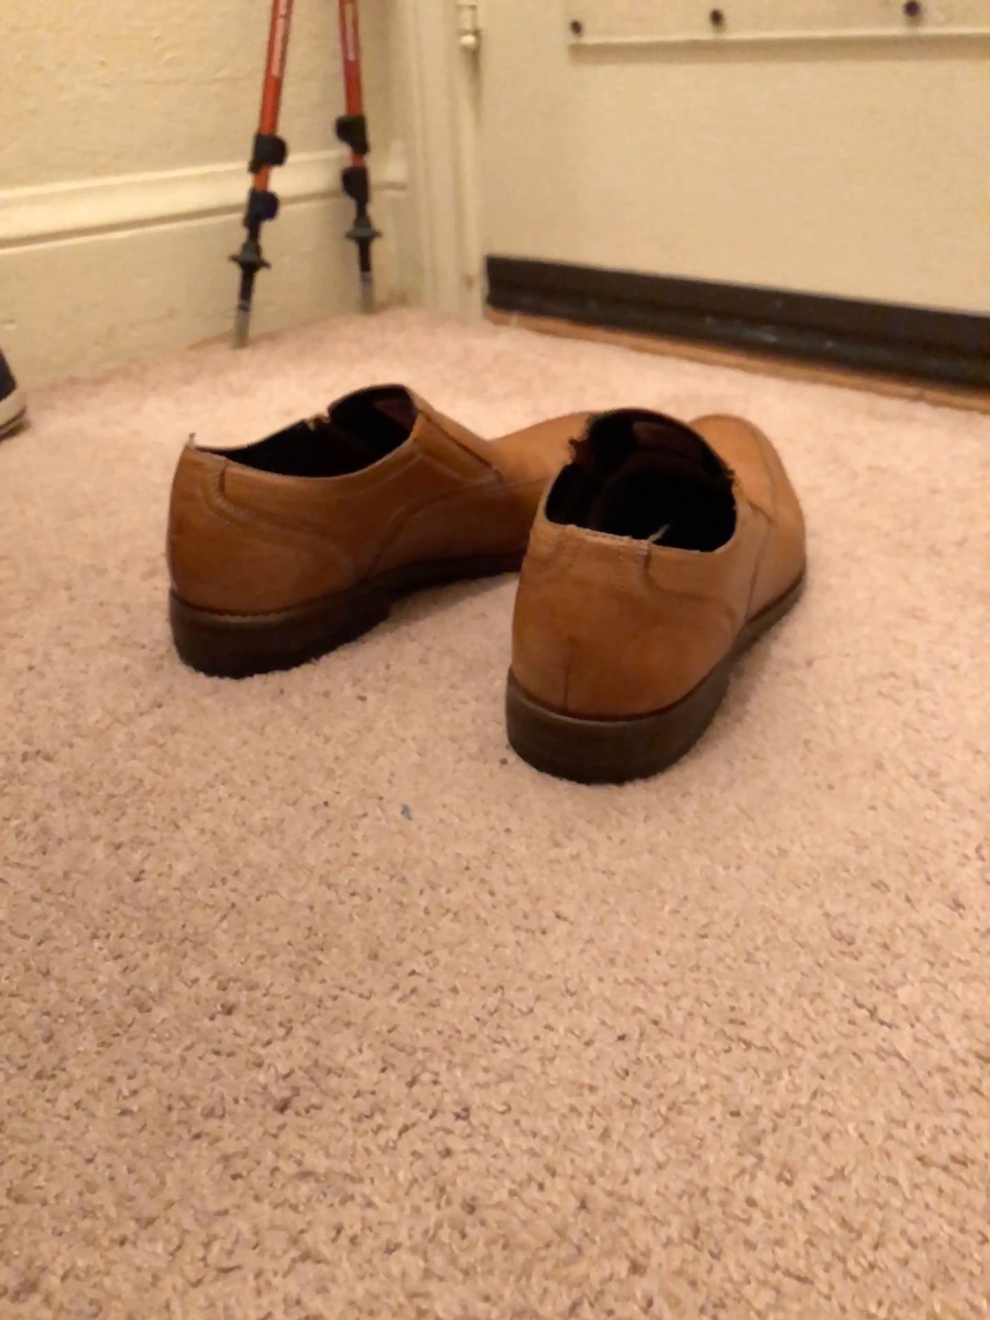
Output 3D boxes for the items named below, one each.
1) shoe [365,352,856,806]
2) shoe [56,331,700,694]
[{"bbox_3d":[0.074,-0.063,0.502,0.107,0.089,0.312,12,29,24],"label":"shoe"},{"bbox_3d":[-0.037,-0.093,0.558,0.321,0.090,0.100,-24,35,-39],"label":"shoe"}]
